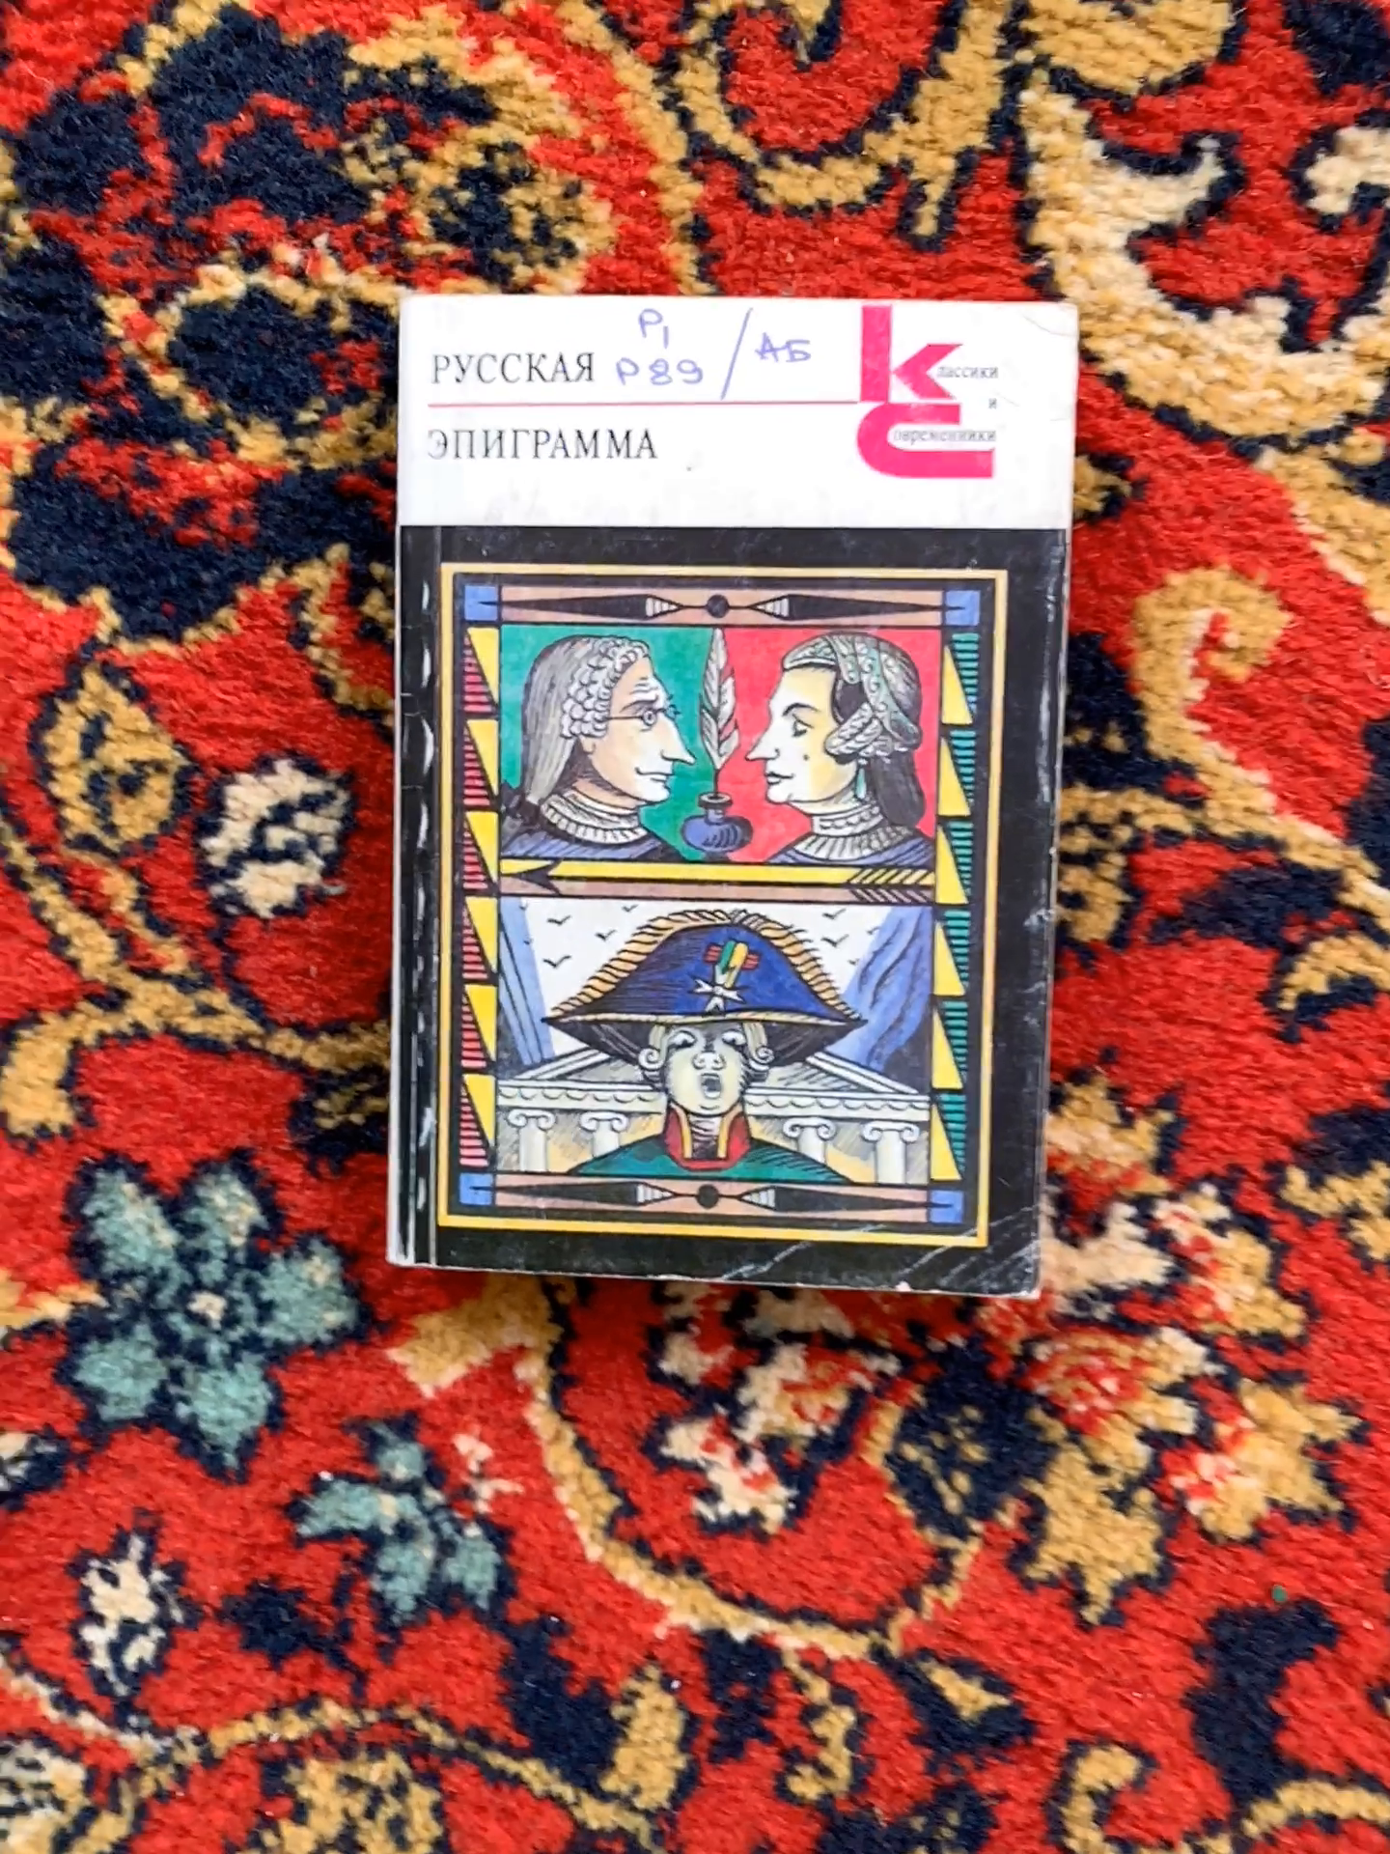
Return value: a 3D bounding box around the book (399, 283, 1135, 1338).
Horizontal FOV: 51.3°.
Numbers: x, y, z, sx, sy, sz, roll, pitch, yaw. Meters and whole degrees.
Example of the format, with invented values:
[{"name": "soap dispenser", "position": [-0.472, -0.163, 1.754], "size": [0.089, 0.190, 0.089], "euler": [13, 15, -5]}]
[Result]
[{"name": "book", "position": [0.010, -0.019, 0.241], "size": [0.110, 0.022, 0.163], "euler": [2, 94, 4]}]
